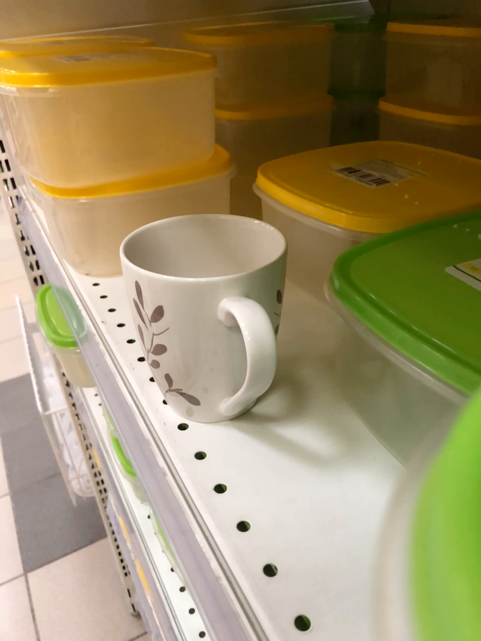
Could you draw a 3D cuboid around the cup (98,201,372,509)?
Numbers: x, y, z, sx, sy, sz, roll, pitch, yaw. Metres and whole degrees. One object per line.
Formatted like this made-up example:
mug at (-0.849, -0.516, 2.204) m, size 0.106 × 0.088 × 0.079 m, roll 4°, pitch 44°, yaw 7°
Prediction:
cup at (-0.006, 0.008, 0.287) m, size 0.086 × 0.097 × 0.121 m, roll -21°, pitch 35°, yaw -24°
